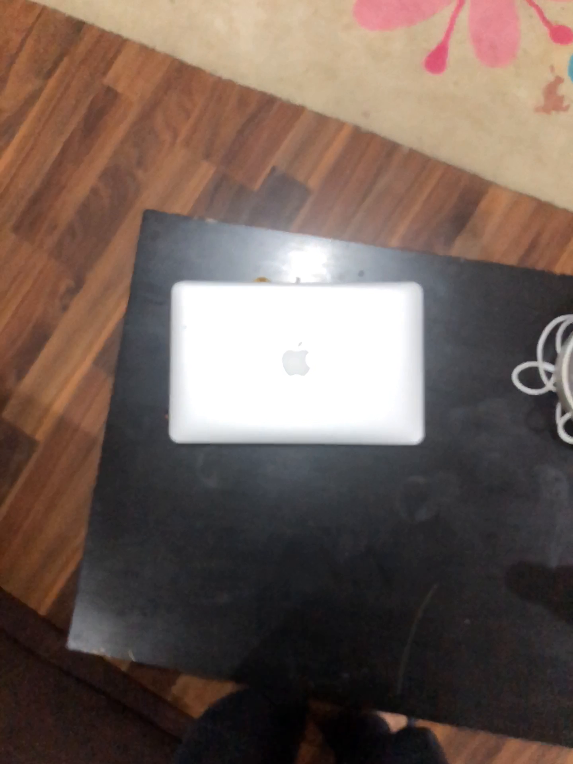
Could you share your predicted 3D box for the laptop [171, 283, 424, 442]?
[{"bbox_3d":[0.013,-0.023,0.775,0.300,0.011,0.190,0,92,0],"label":"laptop"}]
